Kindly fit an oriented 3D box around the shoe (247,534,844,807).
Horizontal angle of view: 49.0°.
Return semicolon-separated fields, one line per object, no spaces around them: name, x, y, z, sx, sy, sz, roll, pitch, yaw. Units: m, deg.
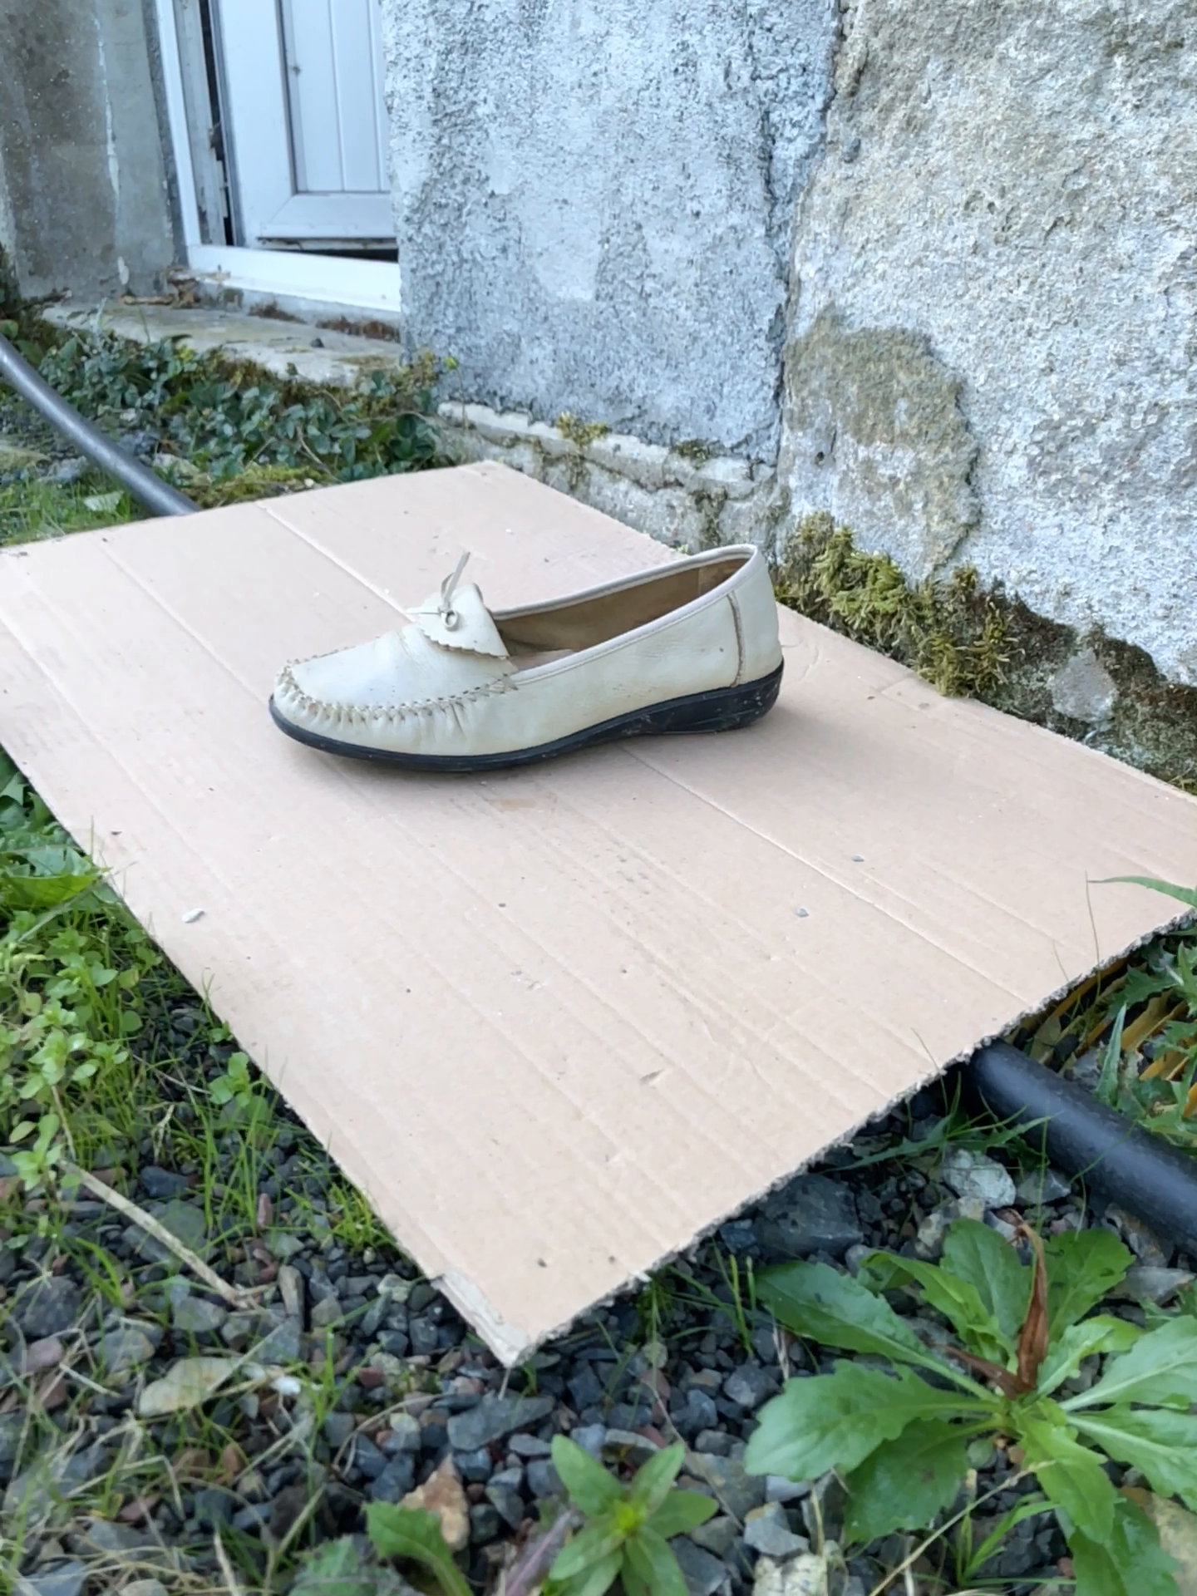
shoe;-0.028;-0.066;0.621;0.260;0.080;0.100;-6;26;-13
